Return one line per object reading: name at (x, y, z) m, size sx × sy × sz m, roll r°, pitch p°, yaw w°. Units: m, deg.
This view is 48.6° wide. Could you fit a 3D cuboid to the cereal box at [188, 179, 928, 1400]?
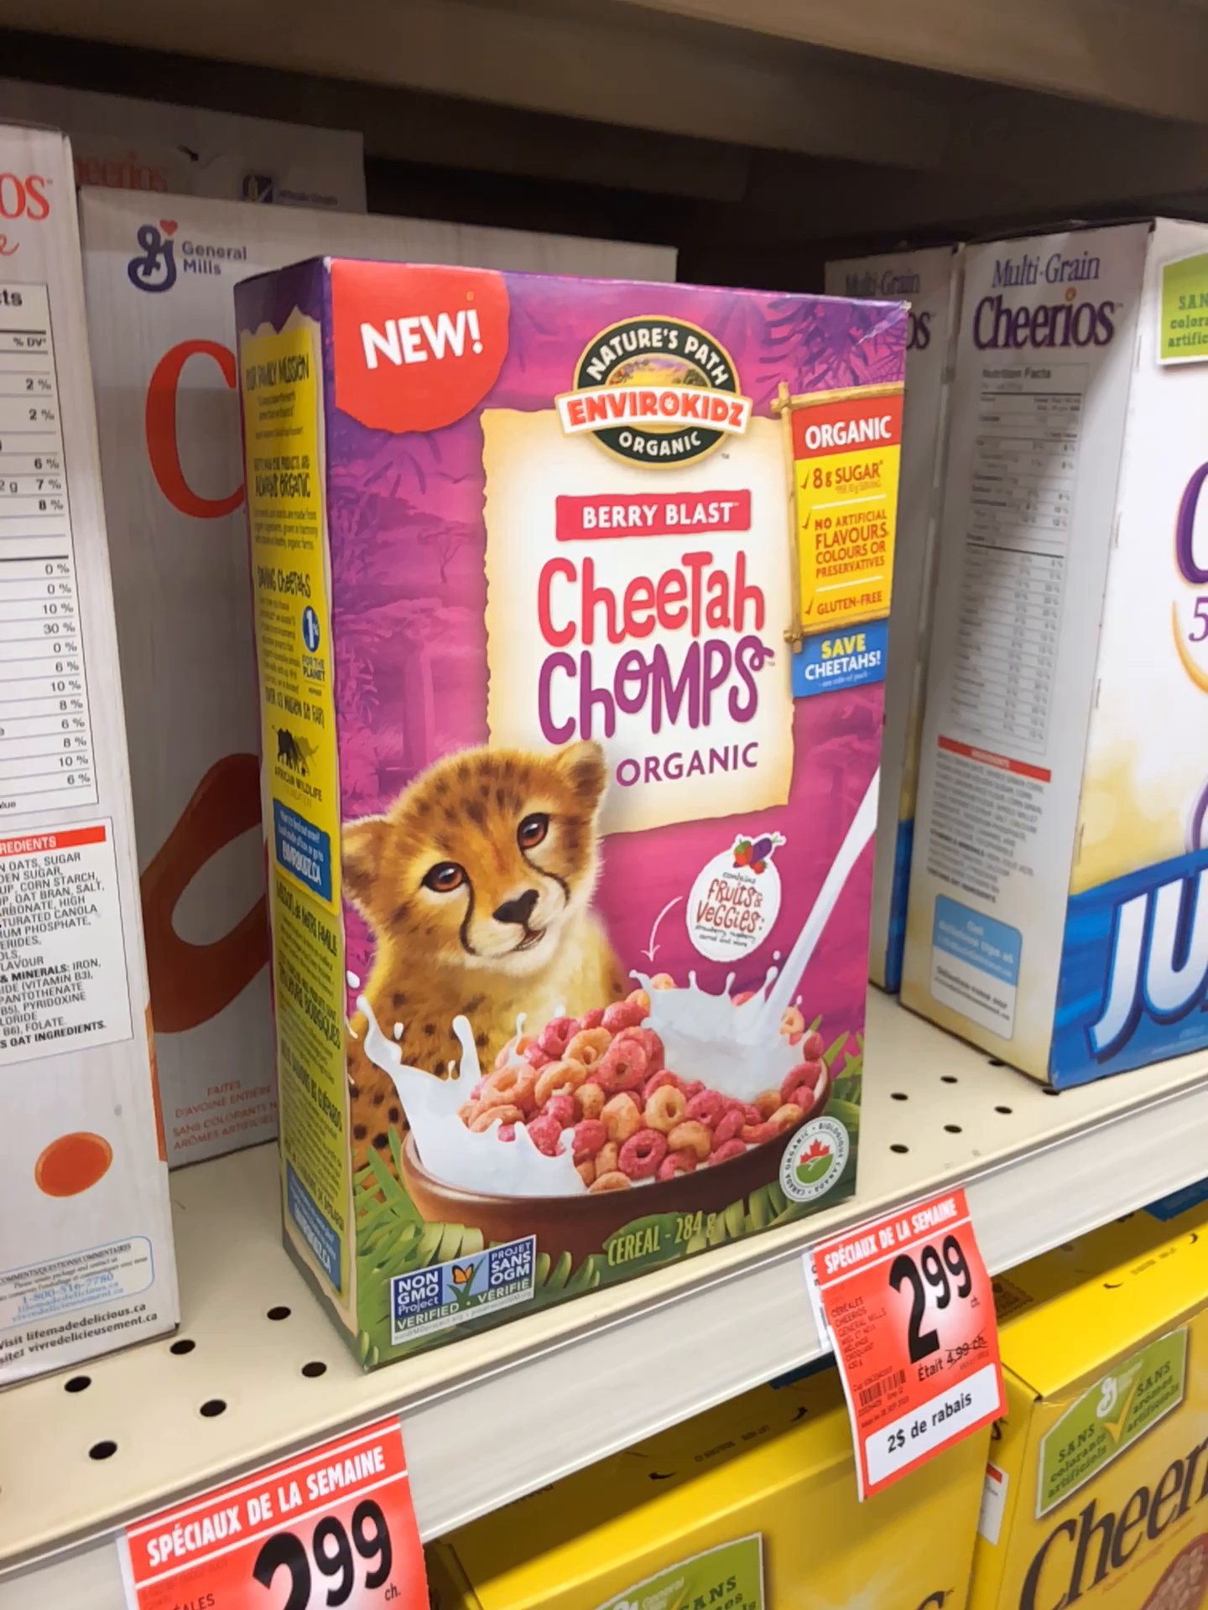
cereal box at (-0.009, -0.007, 0.345) m, size 0.160 × 0.259 × 0.070 m, roll -8°, pitch 16°, yaw -29°
